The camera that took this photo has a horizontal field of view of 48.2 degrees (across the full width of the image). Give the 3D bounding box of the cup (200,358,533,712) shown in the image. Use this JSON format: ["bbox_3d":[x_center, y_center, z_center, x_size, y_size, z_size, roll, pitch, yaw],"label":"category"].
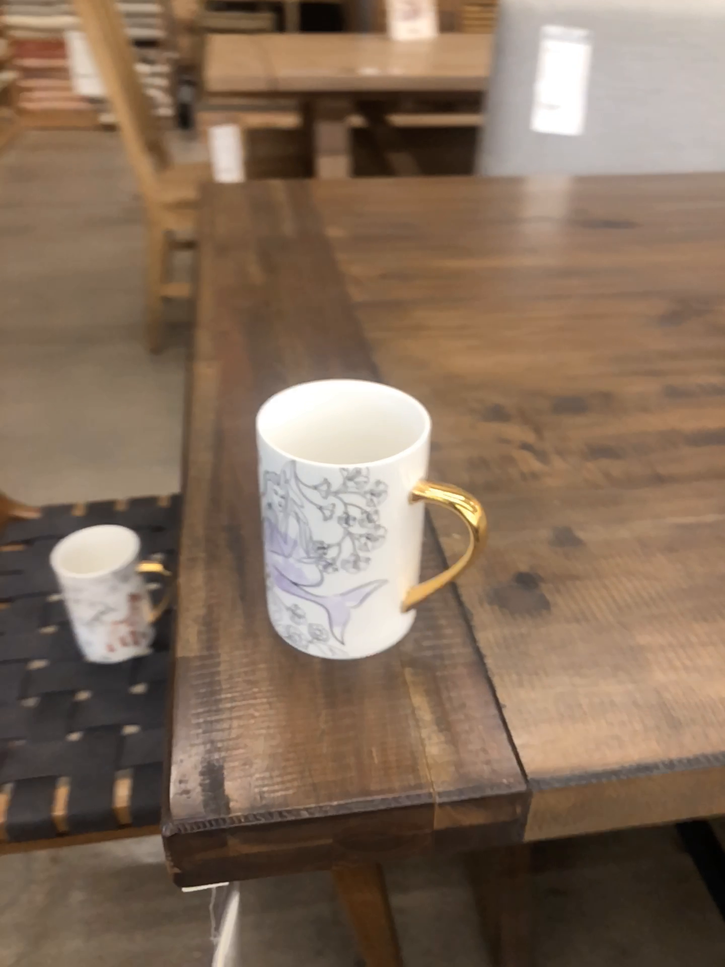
[{"bbox_3d":[0.003,0.019,0.385,0.122,0.111,0.083,17,37,22],"label":"cup"}]
